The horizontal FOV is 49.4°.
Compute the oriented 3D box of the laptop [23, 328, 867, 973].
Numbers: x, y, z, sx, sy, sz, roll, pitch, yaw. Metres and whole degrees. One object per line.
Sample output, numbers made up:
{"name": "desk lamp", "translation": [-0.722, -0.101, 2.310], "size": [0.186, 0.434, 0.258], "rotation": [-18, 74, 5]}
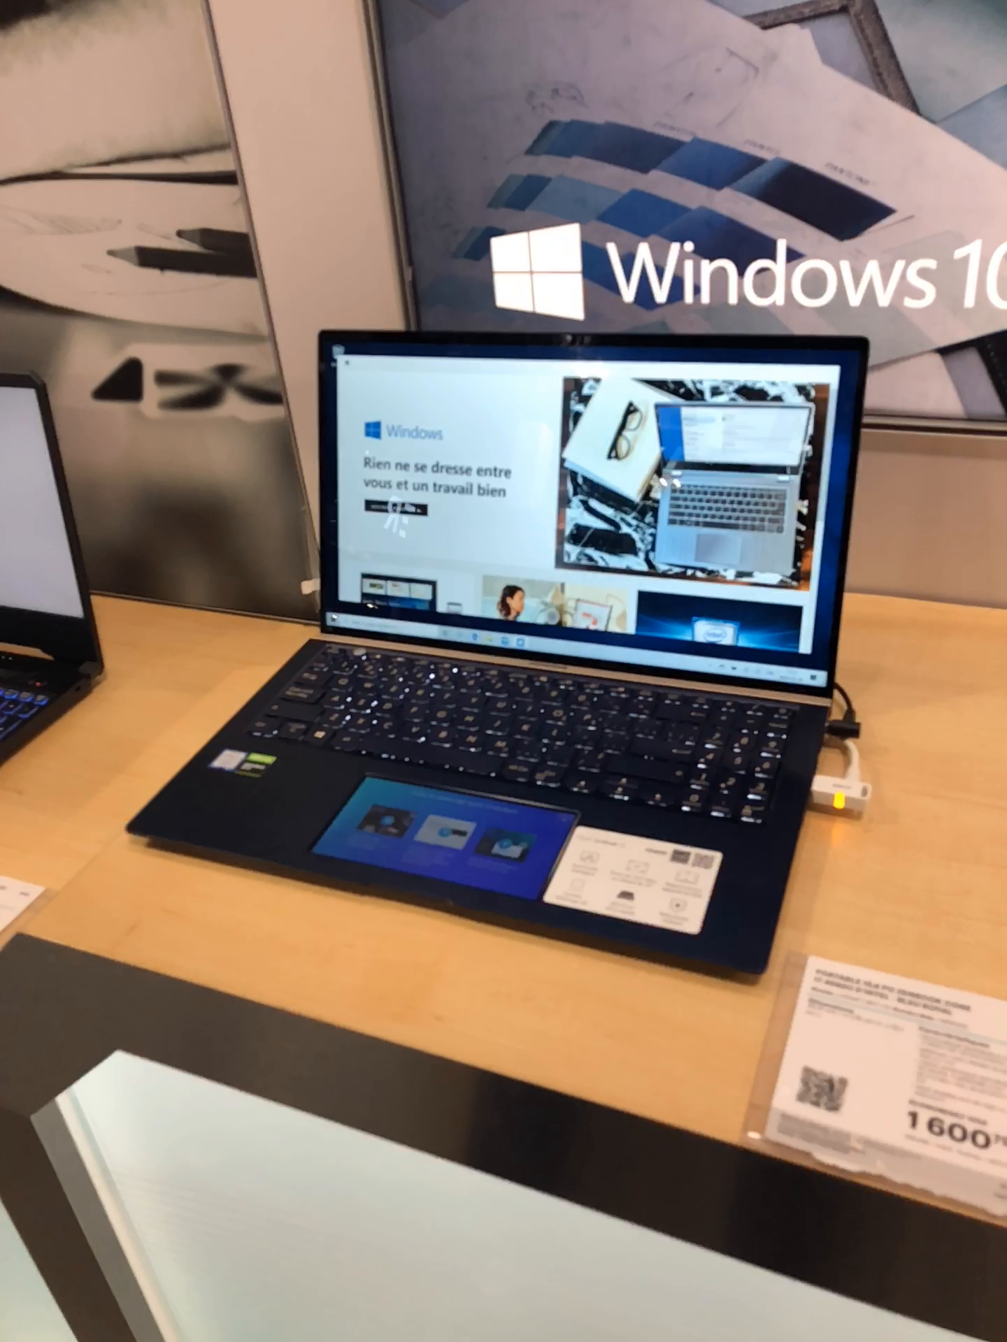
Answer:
{"name": "laptop", "translation": [-0.003, -0.045, 0.586], "size": [0.338, 0.183, 0.274], "rotation": [8, 35, 20]}
